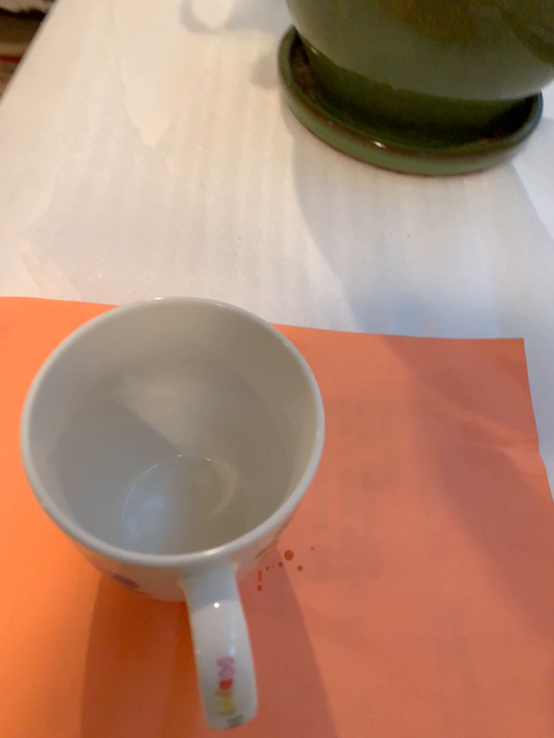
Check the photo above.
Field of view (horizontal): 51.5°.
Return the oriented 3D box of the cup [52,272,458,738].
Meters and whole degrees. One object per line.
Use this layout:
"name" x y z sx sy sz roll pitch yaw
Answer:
"cup" -0.019 0.046 0.199 0.090 0.089 0.121 -9 59 -13
